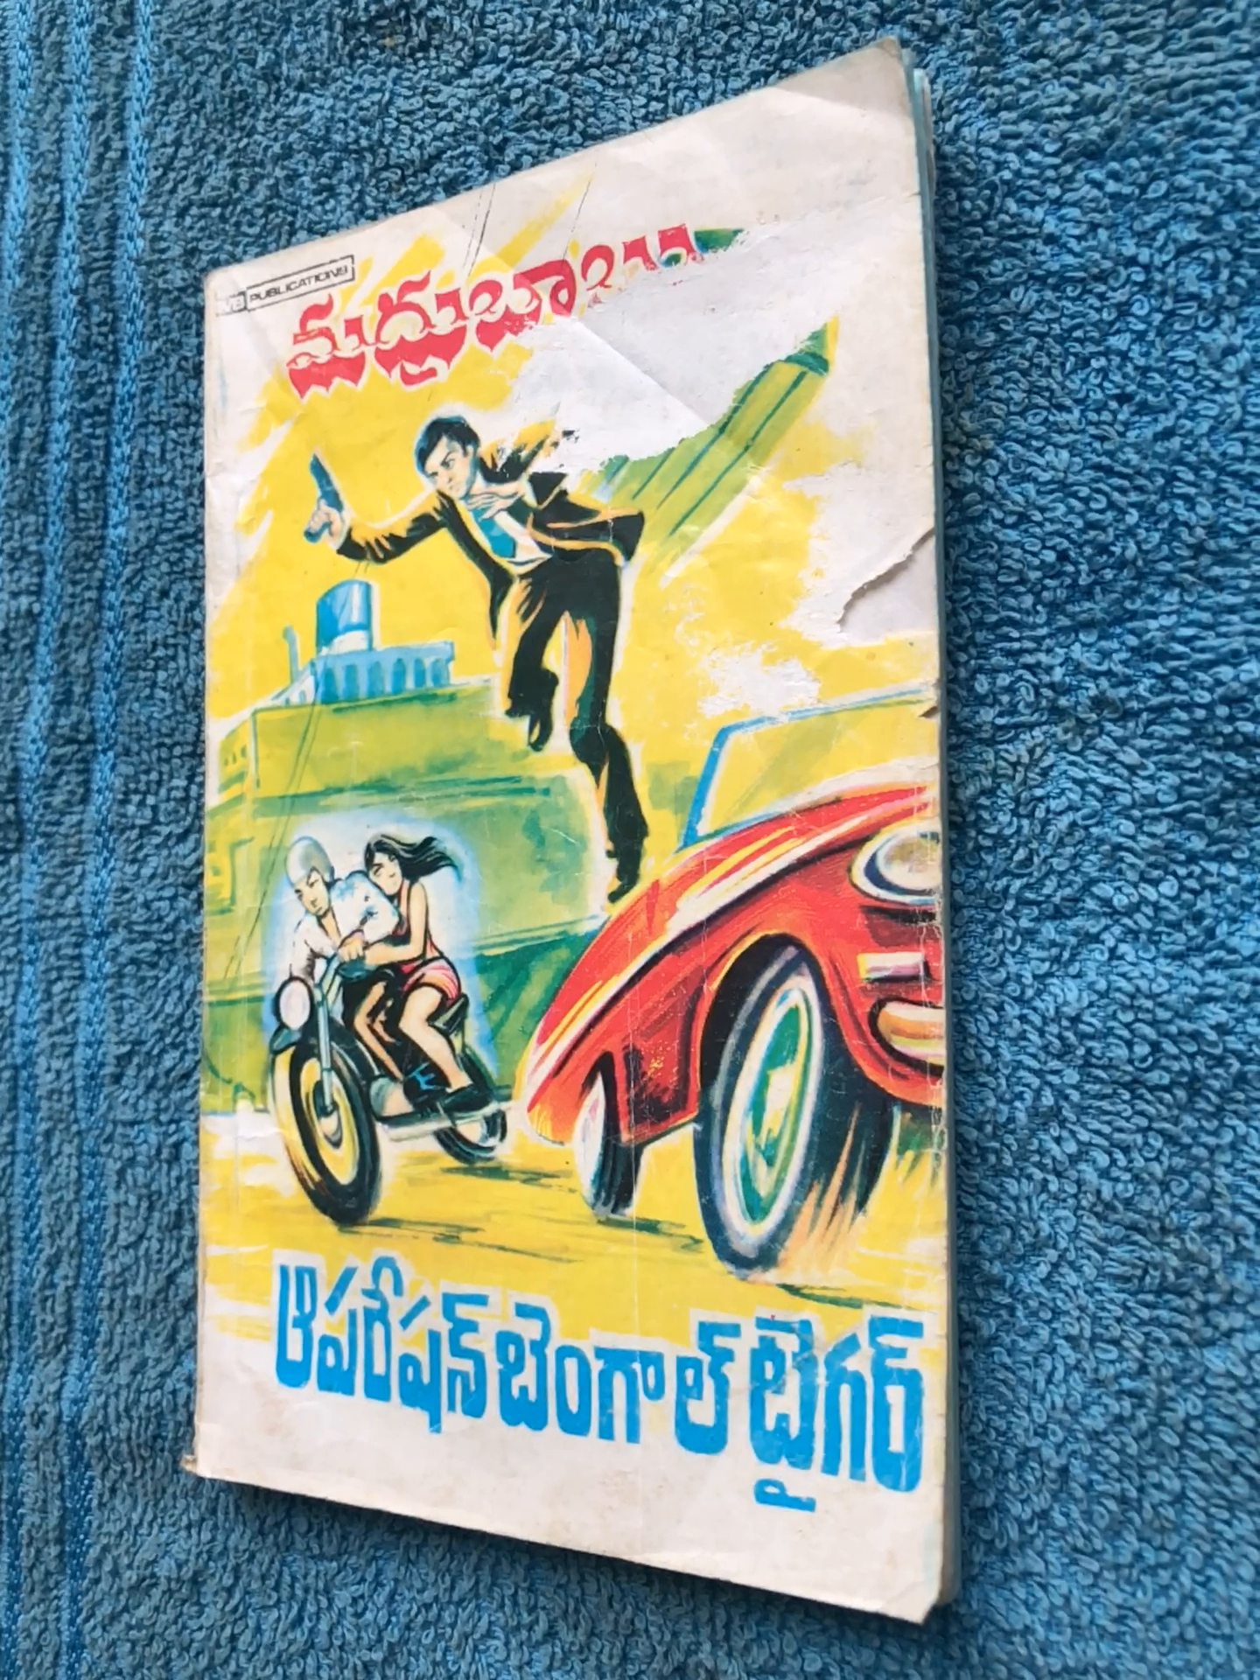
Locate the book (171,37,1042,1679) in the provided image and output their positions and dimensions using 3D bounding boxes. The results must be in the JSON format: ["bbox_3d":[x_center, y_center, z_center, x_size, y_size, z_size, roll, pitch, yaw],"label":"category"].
[{"bbox_3d":[-0.007,0.001,0.167,0.100,0.020,0.160,-3,85,26],"label":"book"}]
